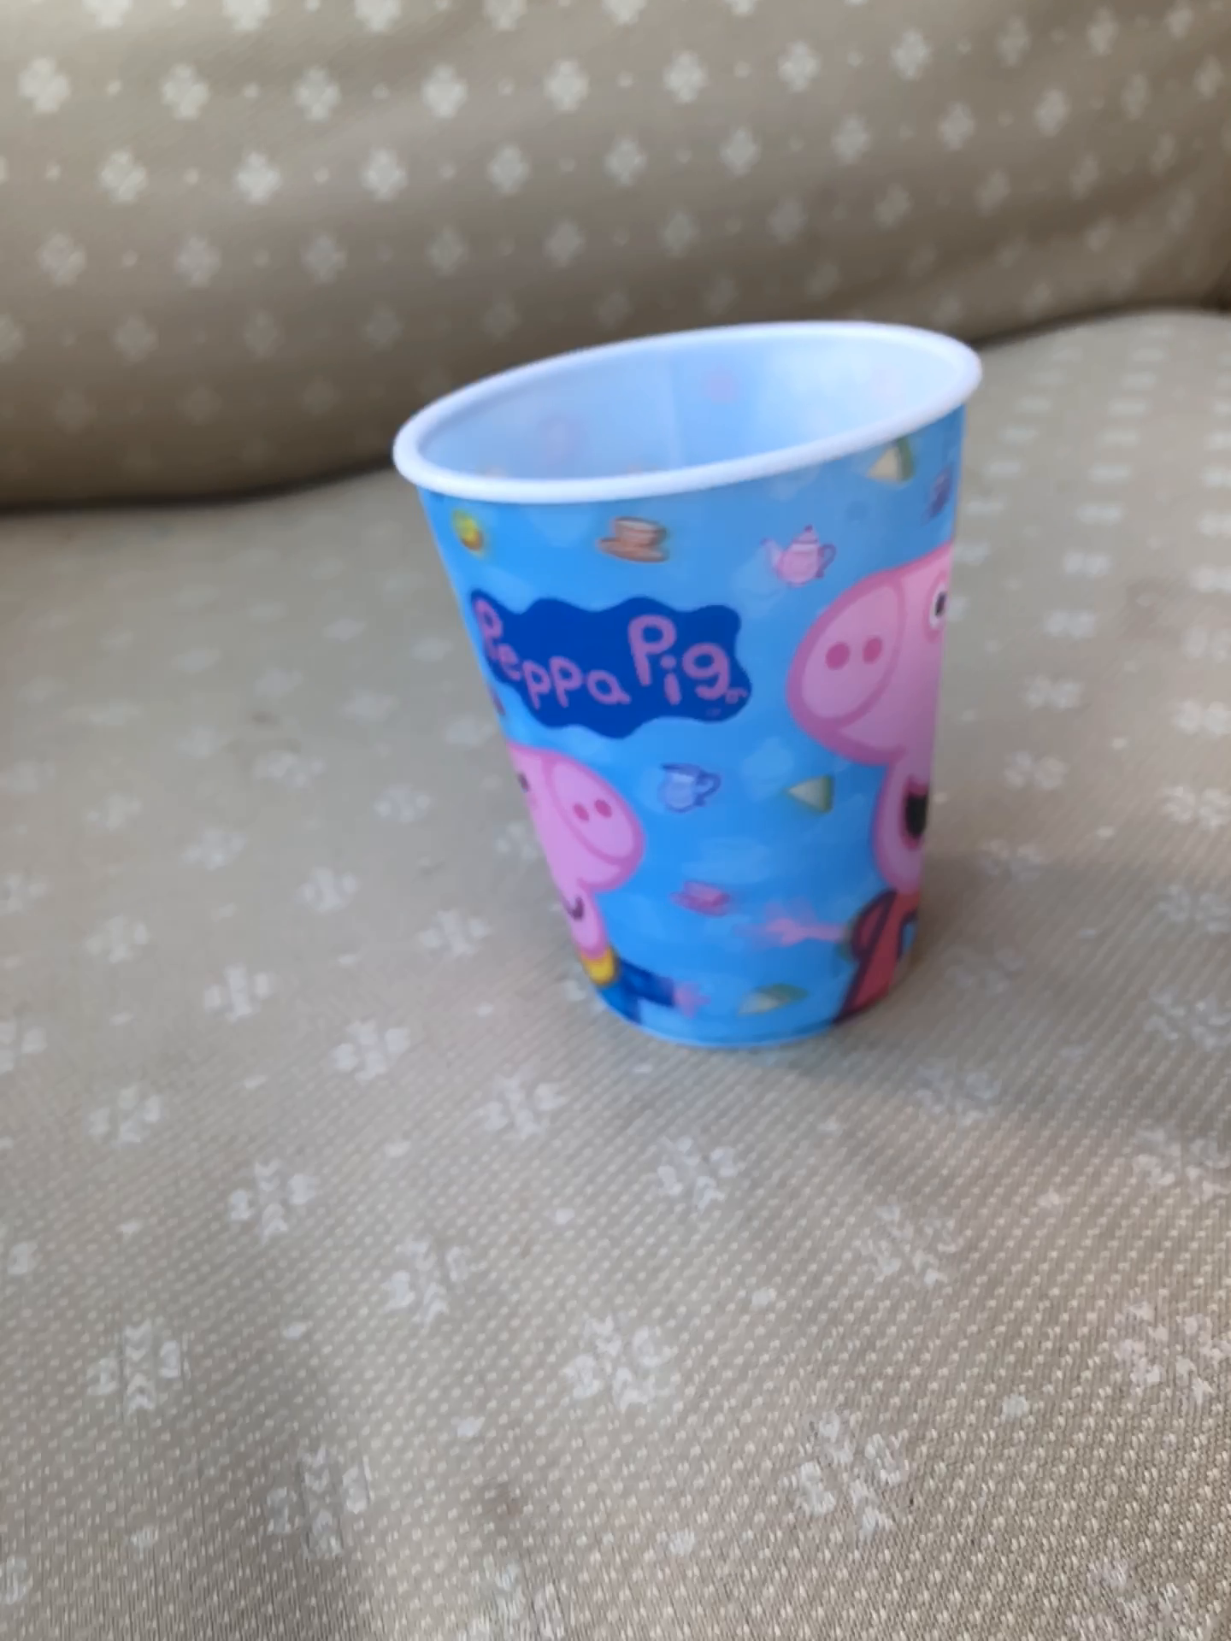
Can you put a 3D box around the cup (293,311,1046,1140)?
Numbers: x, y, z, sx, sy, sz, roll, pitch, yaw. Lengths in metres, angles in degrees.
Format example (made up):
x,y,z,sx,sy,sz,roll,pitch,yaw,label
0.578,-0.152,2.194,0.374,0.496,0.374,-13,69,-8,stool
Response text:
x,y,z,sx,sy,sz,roll,pitch,yaw,label
0.016,-0.024,0.241,0.086,0.101,0.092,-4,31,2,cup
